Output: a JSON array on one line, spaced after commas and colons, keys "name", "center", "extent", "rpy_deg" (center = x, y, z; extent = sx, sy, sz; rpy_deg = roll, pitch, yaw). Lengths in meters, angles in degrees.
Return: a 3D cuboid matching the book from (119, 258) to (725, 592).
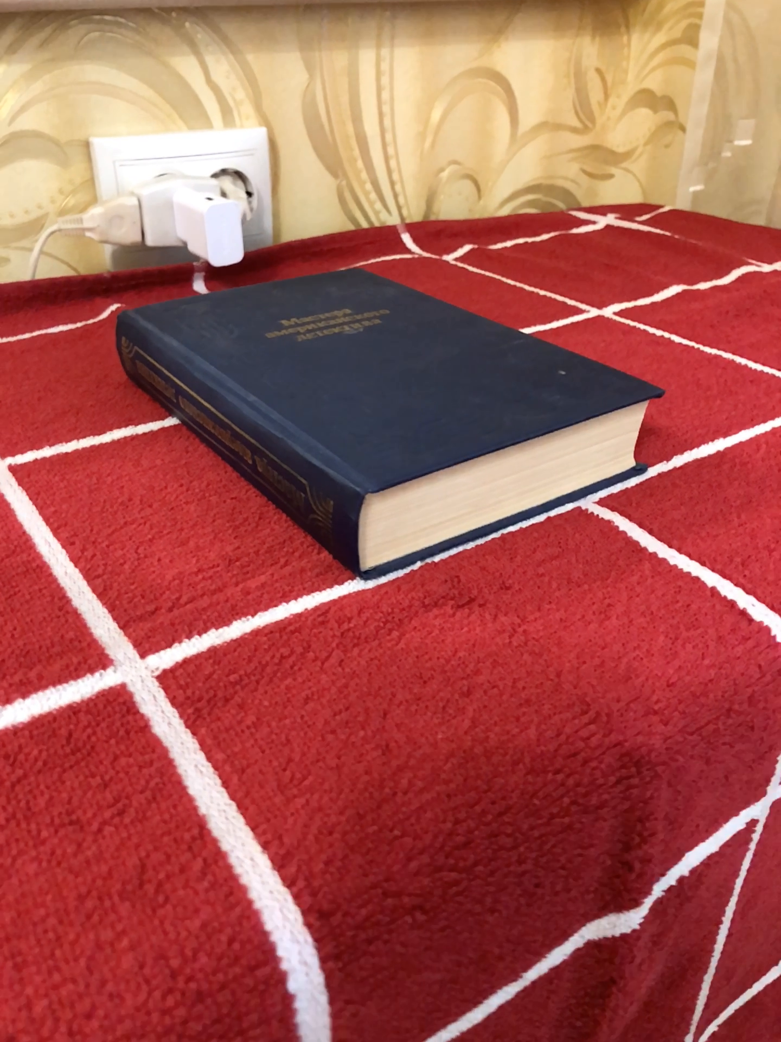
[{"name": "book", "center": [0.001, -0.056, 0.338], "extent": [0.143, 0.030, 0.194], "rpy_deg": [-20, 37, -30]}]
